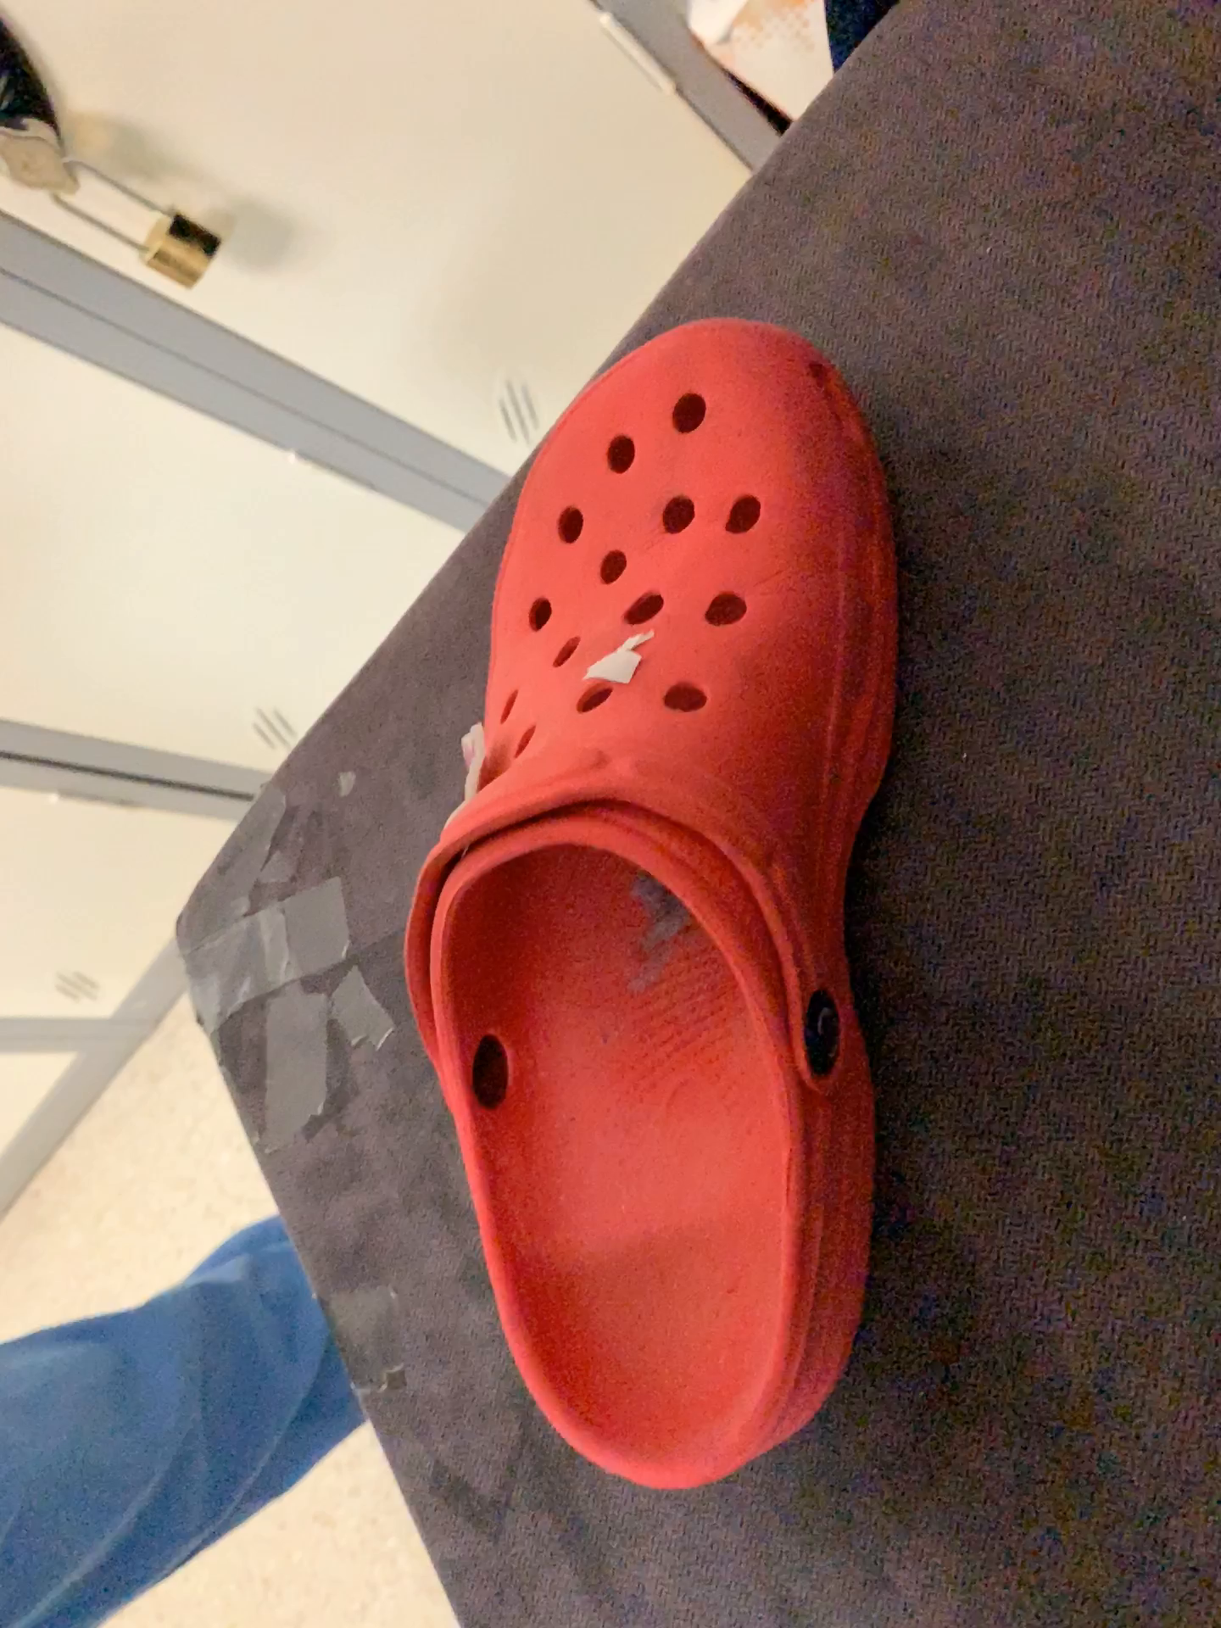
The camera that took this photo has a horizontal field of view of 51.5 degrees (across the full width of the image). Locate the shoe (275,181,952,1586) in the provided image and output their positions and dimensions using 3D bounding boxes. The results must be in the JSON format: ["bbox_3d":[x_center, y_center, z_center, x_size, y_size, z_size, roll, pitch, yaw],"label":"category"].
[{"bbox_3d":[0.004,0.010,0.246,0.092,0.081,0.208,-6,78,36],"label":"shoe"}]
